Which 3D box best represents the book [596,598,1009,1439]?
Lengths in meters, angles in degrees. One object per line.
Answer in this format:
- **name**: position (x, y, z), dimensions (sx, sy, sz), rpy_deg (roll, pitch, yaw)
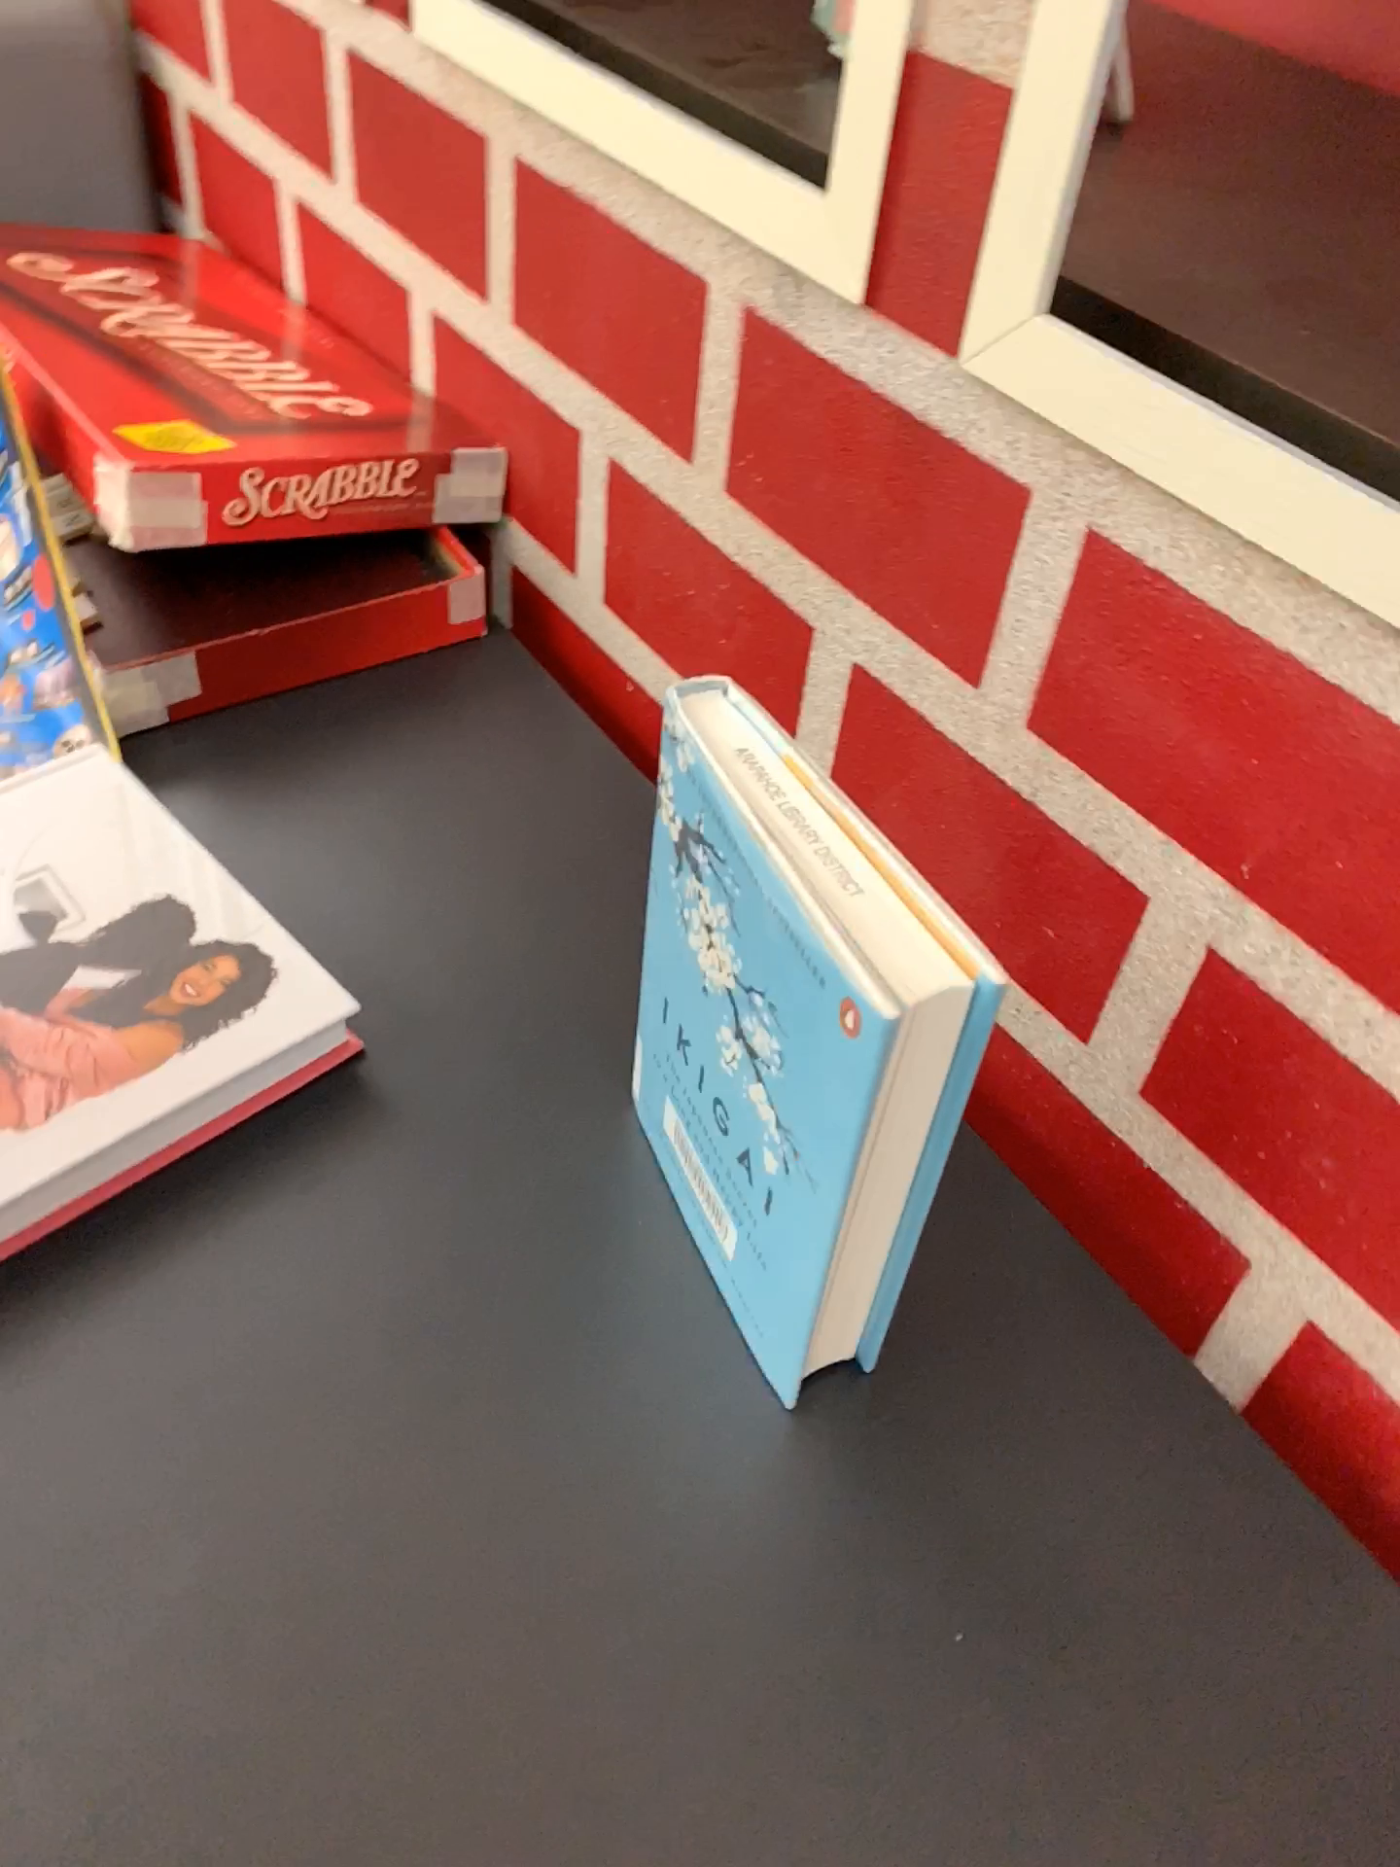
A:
- **book**: position (0.014, 0.030, 0.424), dimensions (0.040, 0.199, 0.151), rpy_deg (-15, 48, -18)
